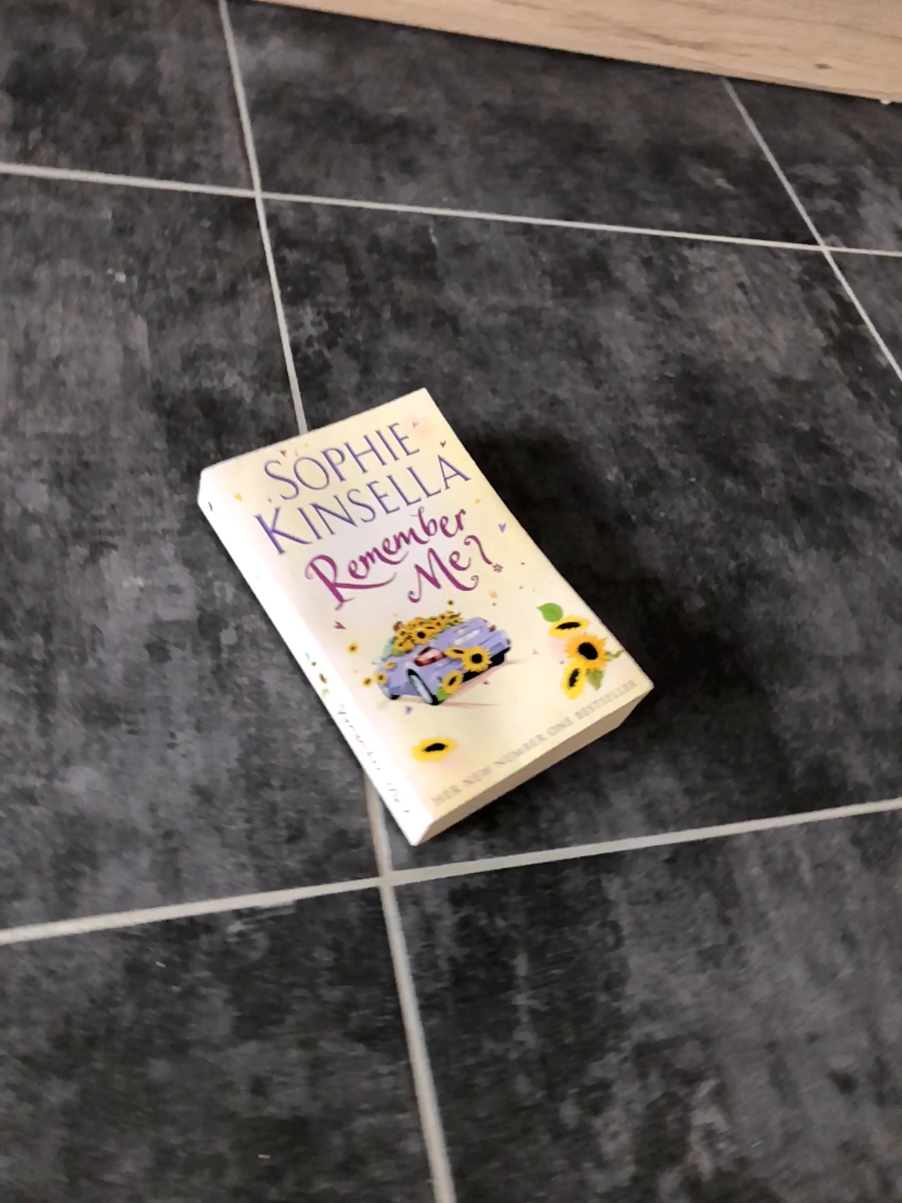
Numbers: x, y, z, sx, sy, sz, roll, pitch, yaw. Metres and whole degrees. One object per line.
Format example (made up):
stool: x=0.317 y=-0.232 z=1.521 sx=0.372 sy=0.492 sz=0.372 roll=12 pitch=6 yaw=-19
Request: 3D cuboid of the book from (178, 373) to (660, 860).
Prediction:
book: x=-0.019 y=-0.004 z=0.459 sx=0.131 sy=0.040 sz=0.200 roll=-26 pitch=68 yaw=-26
